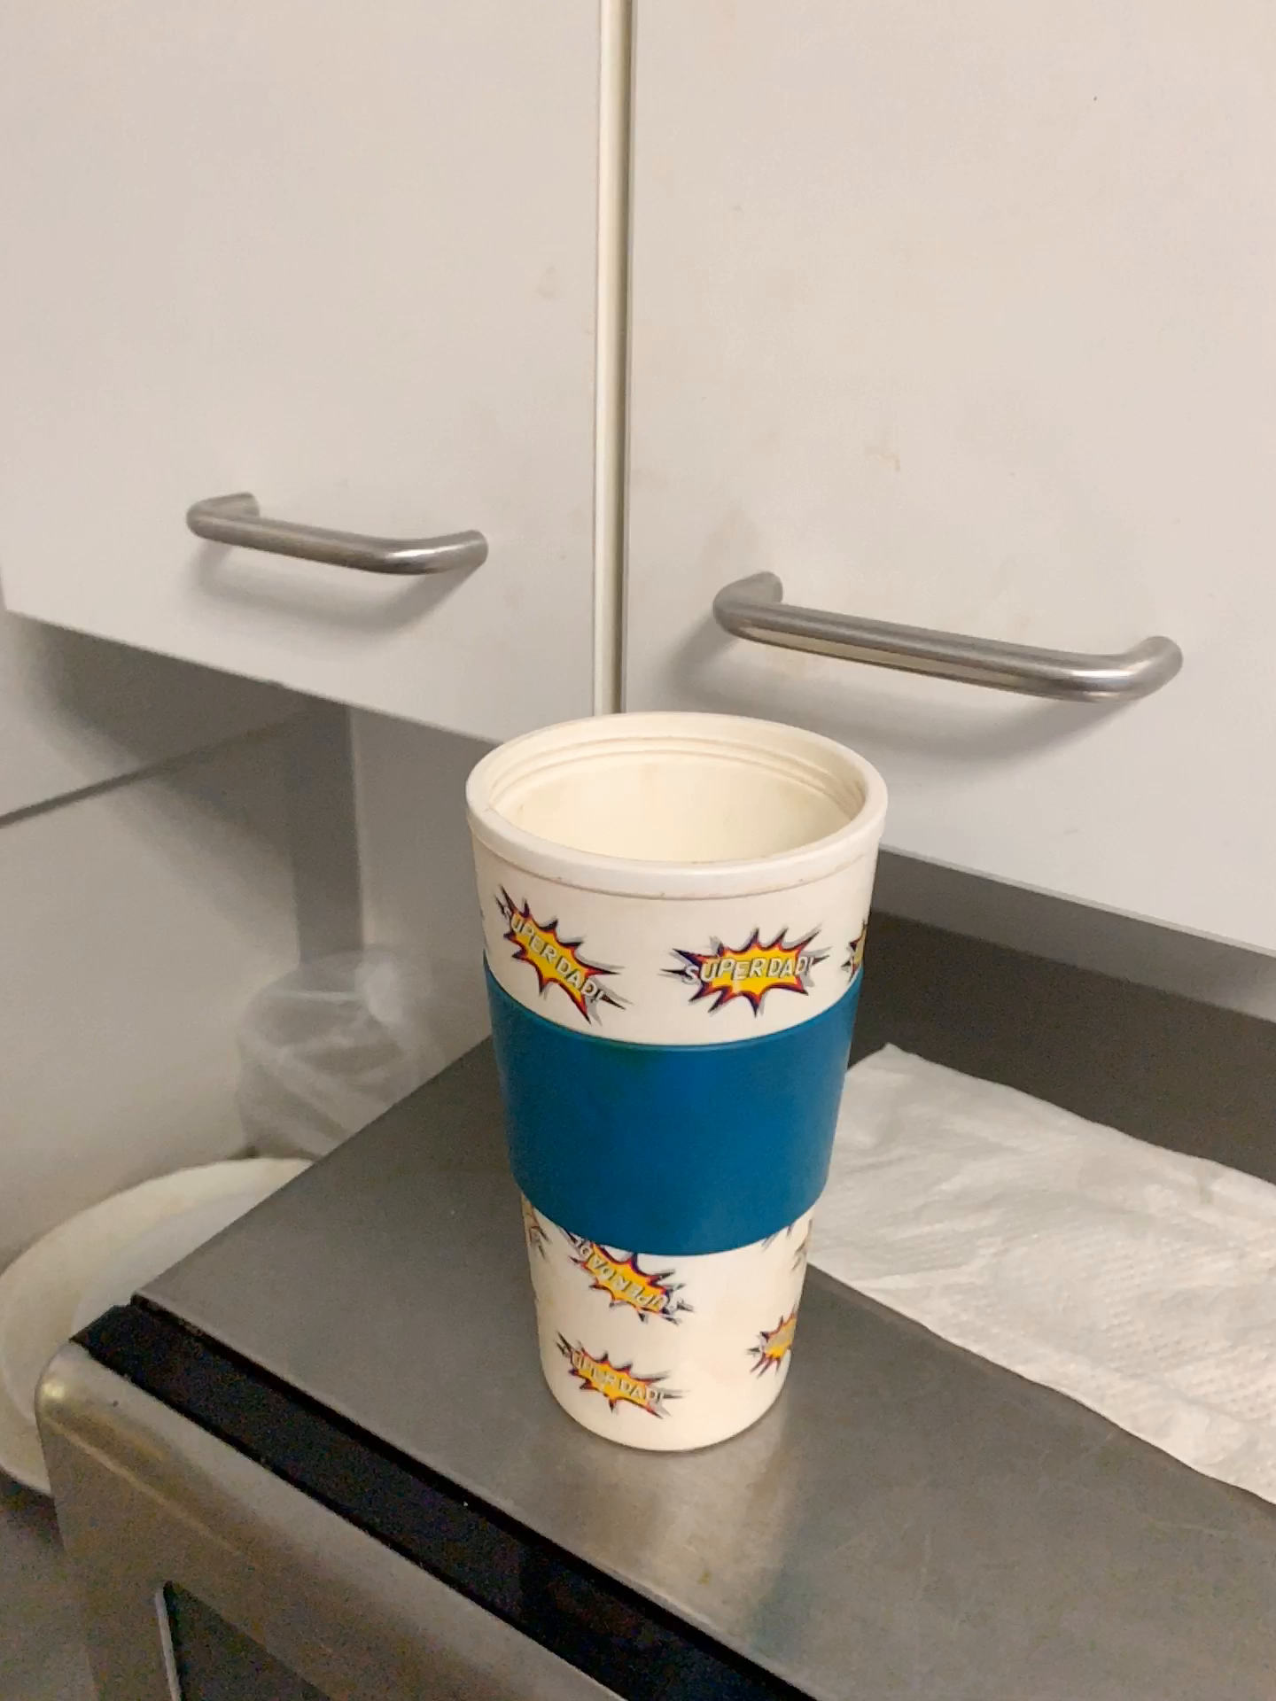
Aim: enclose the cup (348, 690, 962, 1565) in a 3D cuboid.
[{"bbox_3d":[0.006,0.053,0.304,0.093,0.146,0.097,1,22,0],"label":"cup"}]
